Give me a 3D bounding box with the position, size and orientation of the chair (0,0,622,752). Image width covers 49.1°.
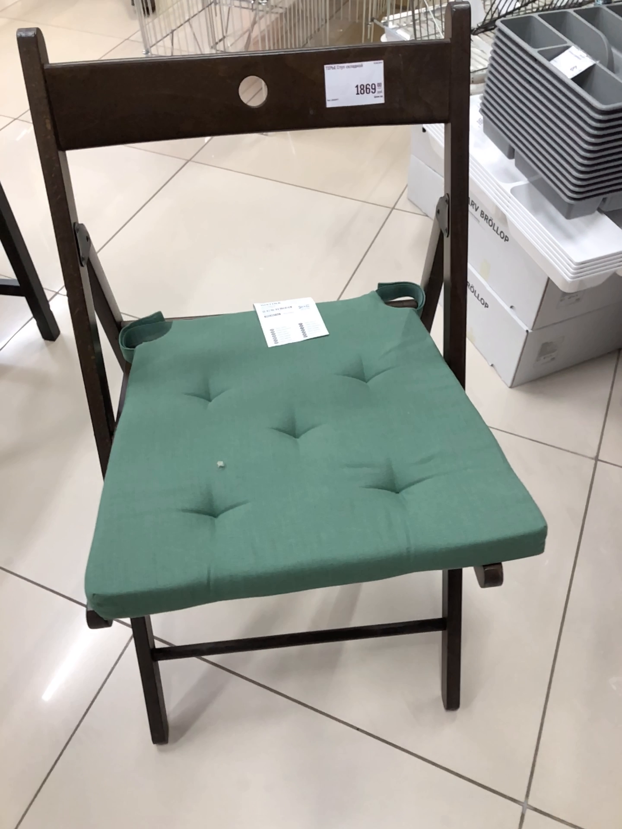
[{"bbox_3d":[-0.035,0.004,0.764,0.440,0.686,0.483,-6,51,-3],"label":"chair"}]
